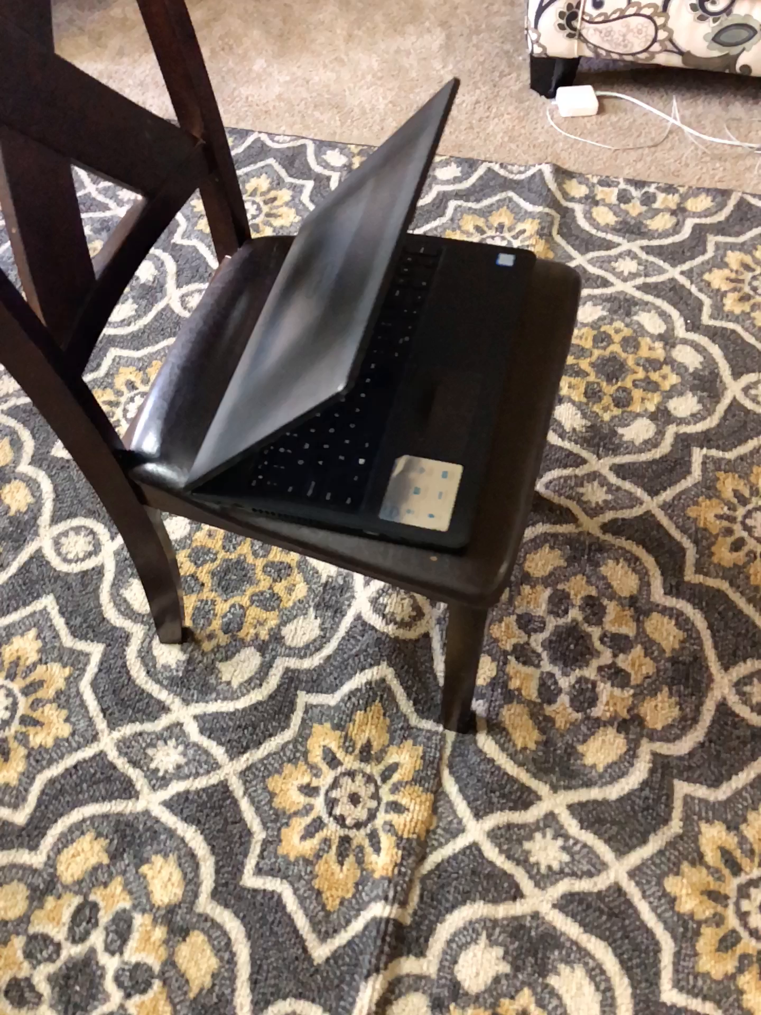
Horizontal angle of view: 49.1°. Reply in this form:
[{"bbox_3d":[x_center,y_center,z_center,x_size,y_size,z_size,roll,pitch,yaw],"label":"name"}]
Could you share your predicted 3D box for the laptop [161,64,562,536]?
[{"bbox_3d":[0.007,-0.197,0.747,0.245,0.186,0.367,10,57,9],"label":"laptop"}]
